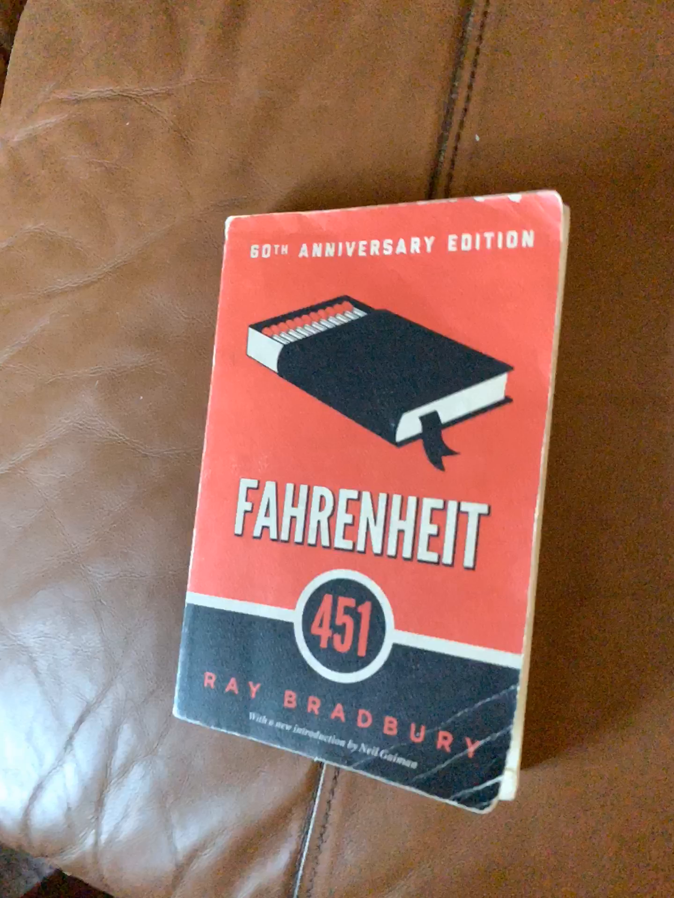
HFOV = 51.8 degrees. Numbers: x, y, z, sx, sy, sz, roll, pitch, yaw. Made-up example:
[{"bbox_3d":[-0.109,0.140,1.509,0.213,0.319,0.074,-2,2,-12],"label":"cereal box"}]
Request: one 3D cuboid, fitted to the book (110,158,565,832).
[{"bbox_3d":[0.002,0.008,0.268,0.150,0.040,0.220,4,85,18],"label":"book"}]
